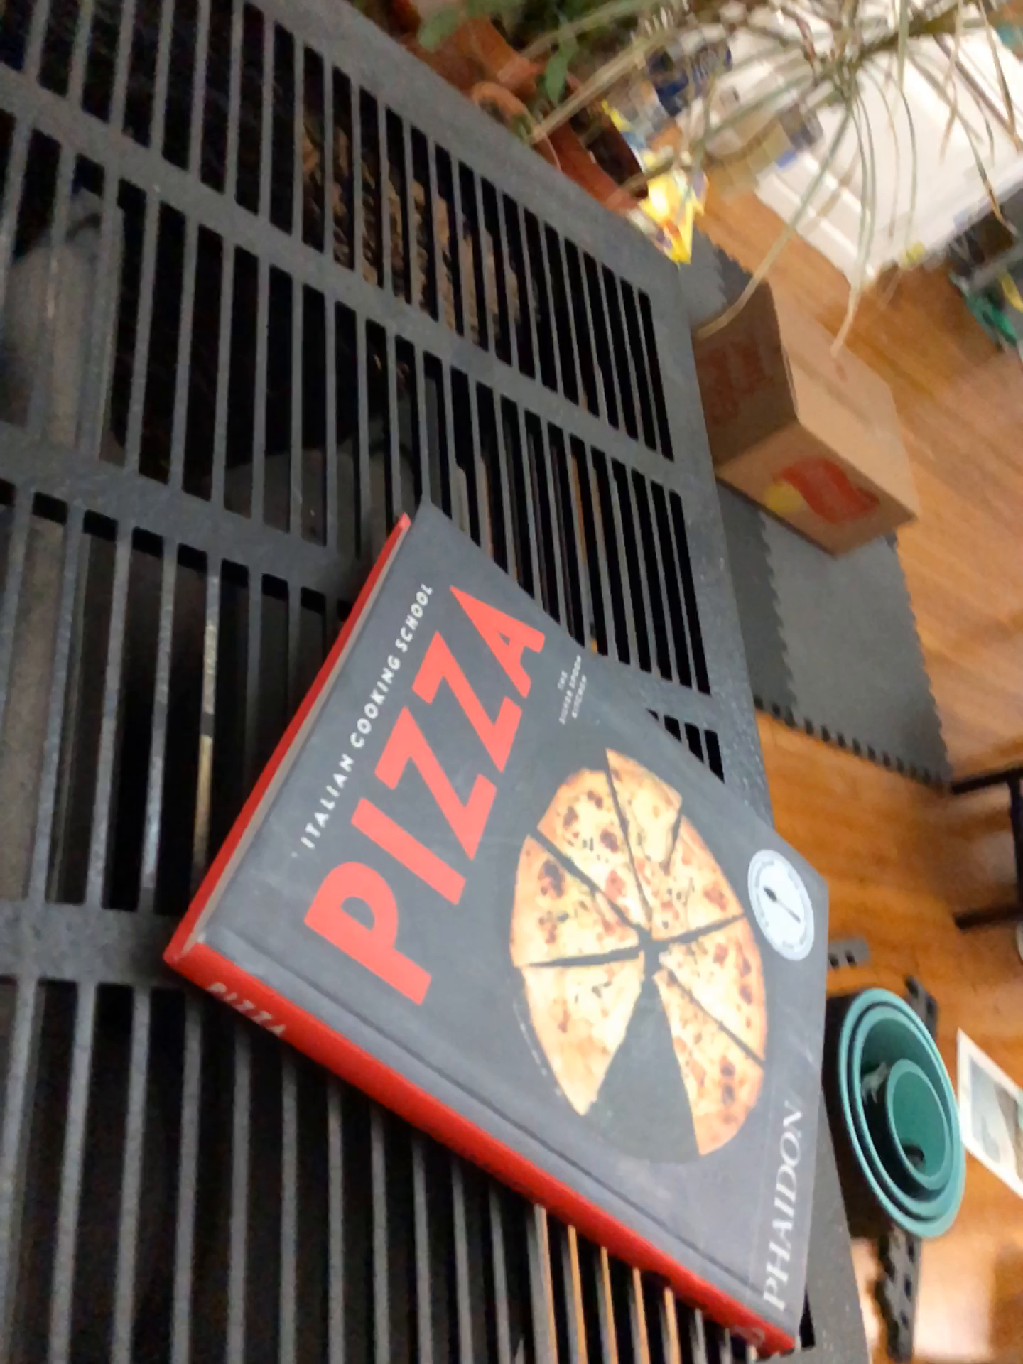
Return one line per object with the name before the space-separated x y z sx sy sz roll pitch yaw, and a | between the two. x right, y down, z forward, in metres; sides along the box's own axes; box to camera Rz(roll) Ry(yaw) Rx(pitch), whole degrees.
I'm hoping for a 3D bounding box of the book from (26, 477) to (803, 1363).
book | 0.005 0.075 0.339 0.230 0.020 0.181 42 44 -24
